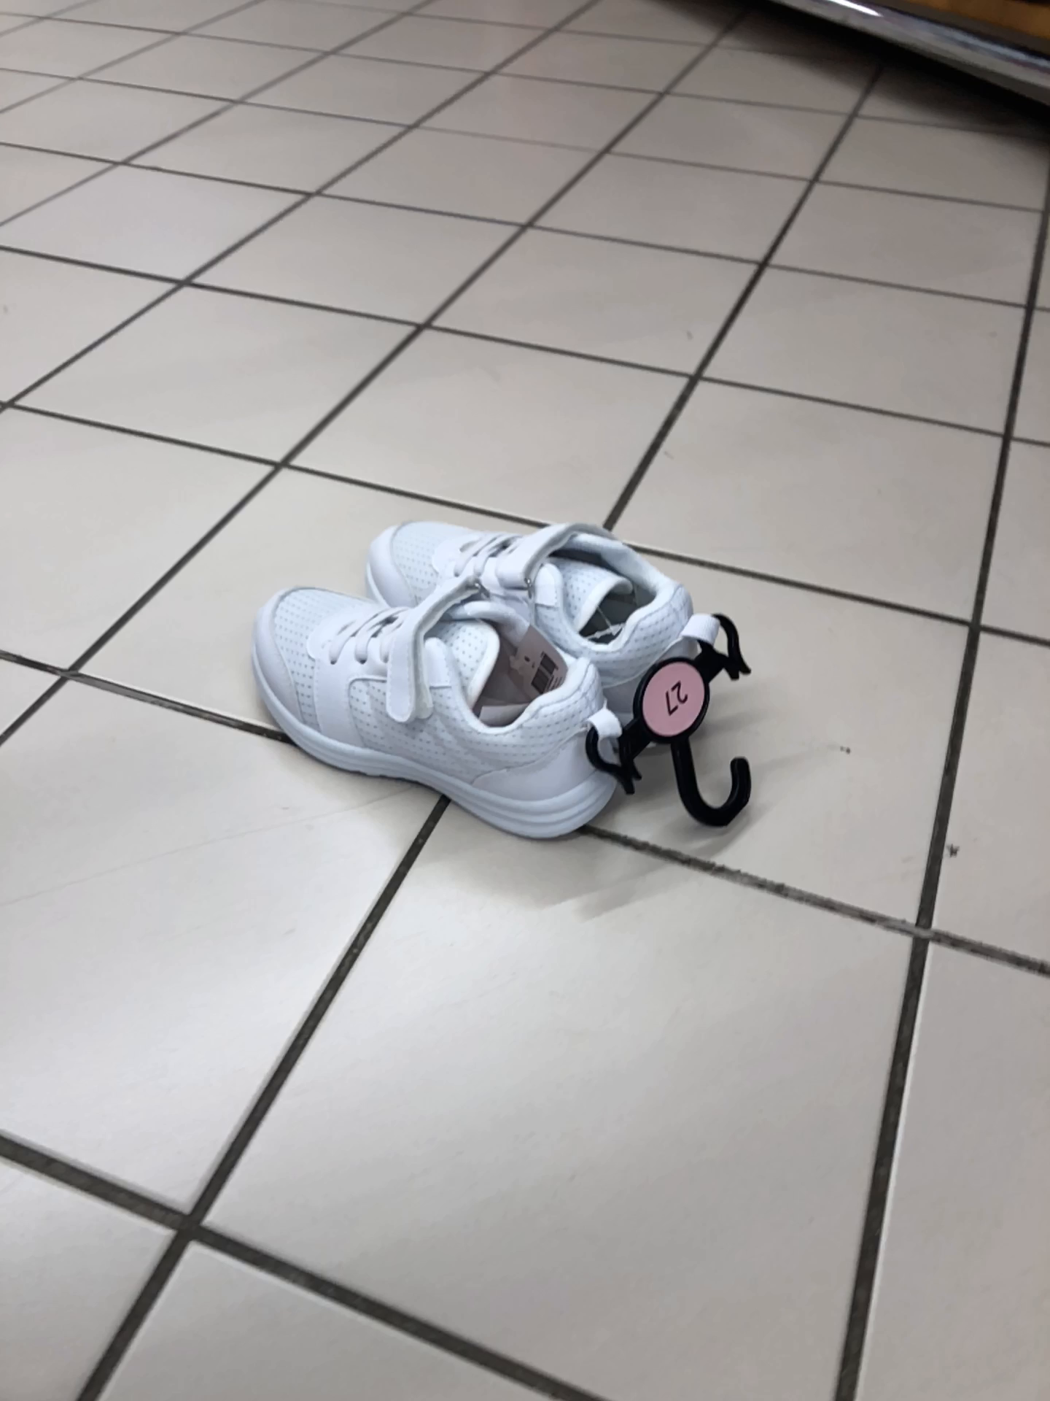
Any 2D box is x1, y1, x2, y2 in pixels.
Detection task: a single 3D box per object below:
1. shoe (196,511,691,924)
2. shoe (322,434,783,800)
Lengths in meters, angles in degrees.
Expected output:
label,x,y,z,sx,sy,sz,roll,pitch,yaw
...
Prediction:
label,x,y,z,sx,sy,sz,roll,pitch,yaw
shoe,-0.038,0.000,0.512,0.200,0.080,0.080,25,48,25
shoe,0.009,-0.046,0.557,0.200,0.080,0.080,25,48,25
